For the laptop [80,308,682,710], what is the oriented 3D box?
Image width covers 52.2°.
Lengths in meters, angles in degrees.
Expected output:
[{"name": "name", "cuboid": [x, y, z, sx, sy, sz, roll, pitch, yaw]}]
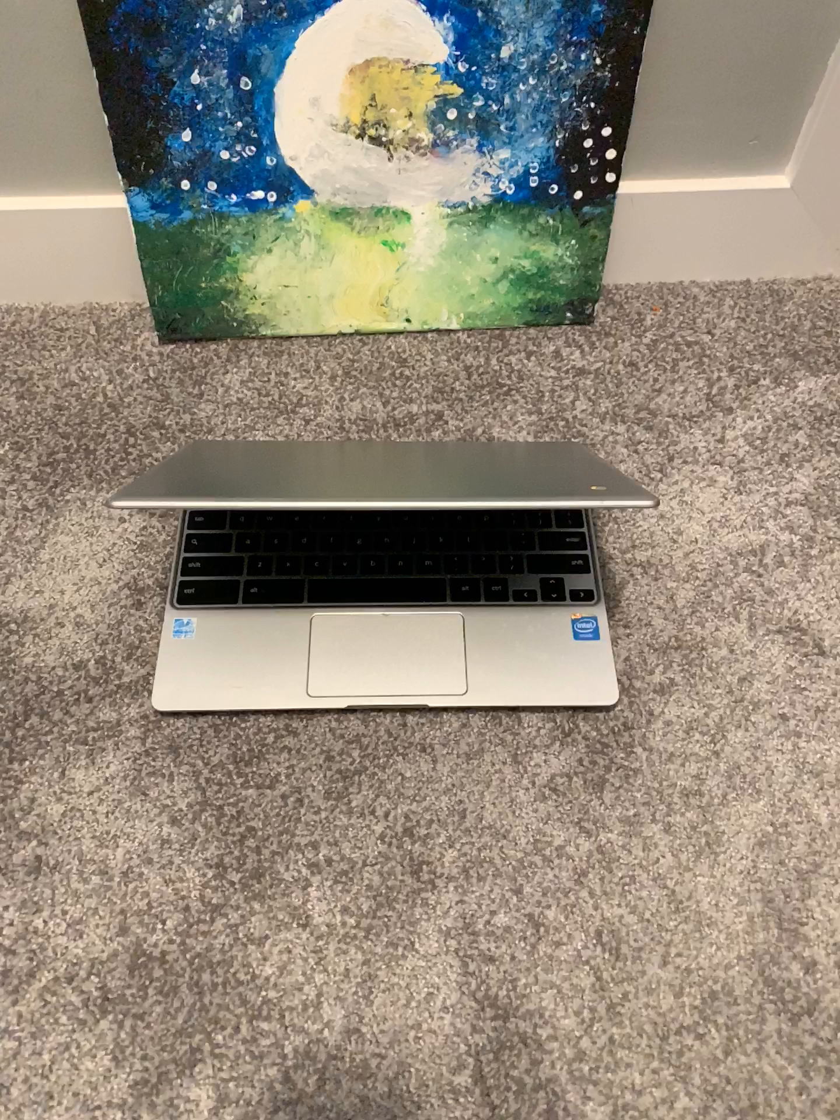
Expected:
[{"name": "laptop", "cuboid": [-0.021, -0.031, 0.532, 0.294, 0.144, 0.200, -1, 59, -2]}]
